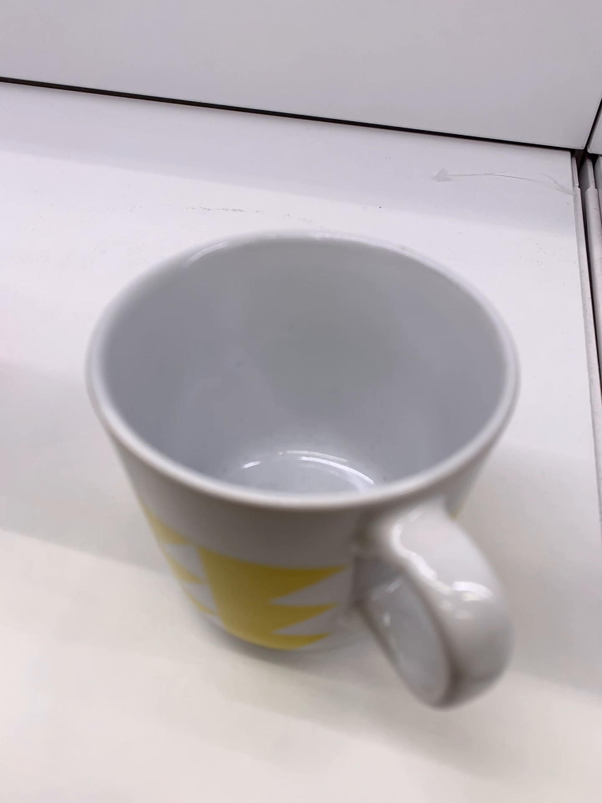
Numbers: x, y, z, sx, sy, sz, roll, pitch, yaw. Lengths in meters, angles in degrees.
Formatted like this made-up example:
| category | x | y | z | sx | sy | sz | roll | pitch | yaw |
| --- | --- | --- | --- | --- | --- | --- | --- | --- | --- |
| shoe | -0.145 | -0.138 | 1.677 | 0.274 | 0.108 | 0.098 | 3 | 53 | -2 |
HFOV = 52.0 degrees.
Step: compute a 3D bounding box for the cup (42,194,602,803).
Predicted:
| category | x | y | z | sx | sy | sz | roll | pitch | yaw |
| --- | --- | --- | --- | --- | --- | --- | --- | --- | --- |
| cup | 0.005 | 0.016 | 0.133 | 0.084 | 0.065 | 0.108 | -17 | 47 | -19 |
